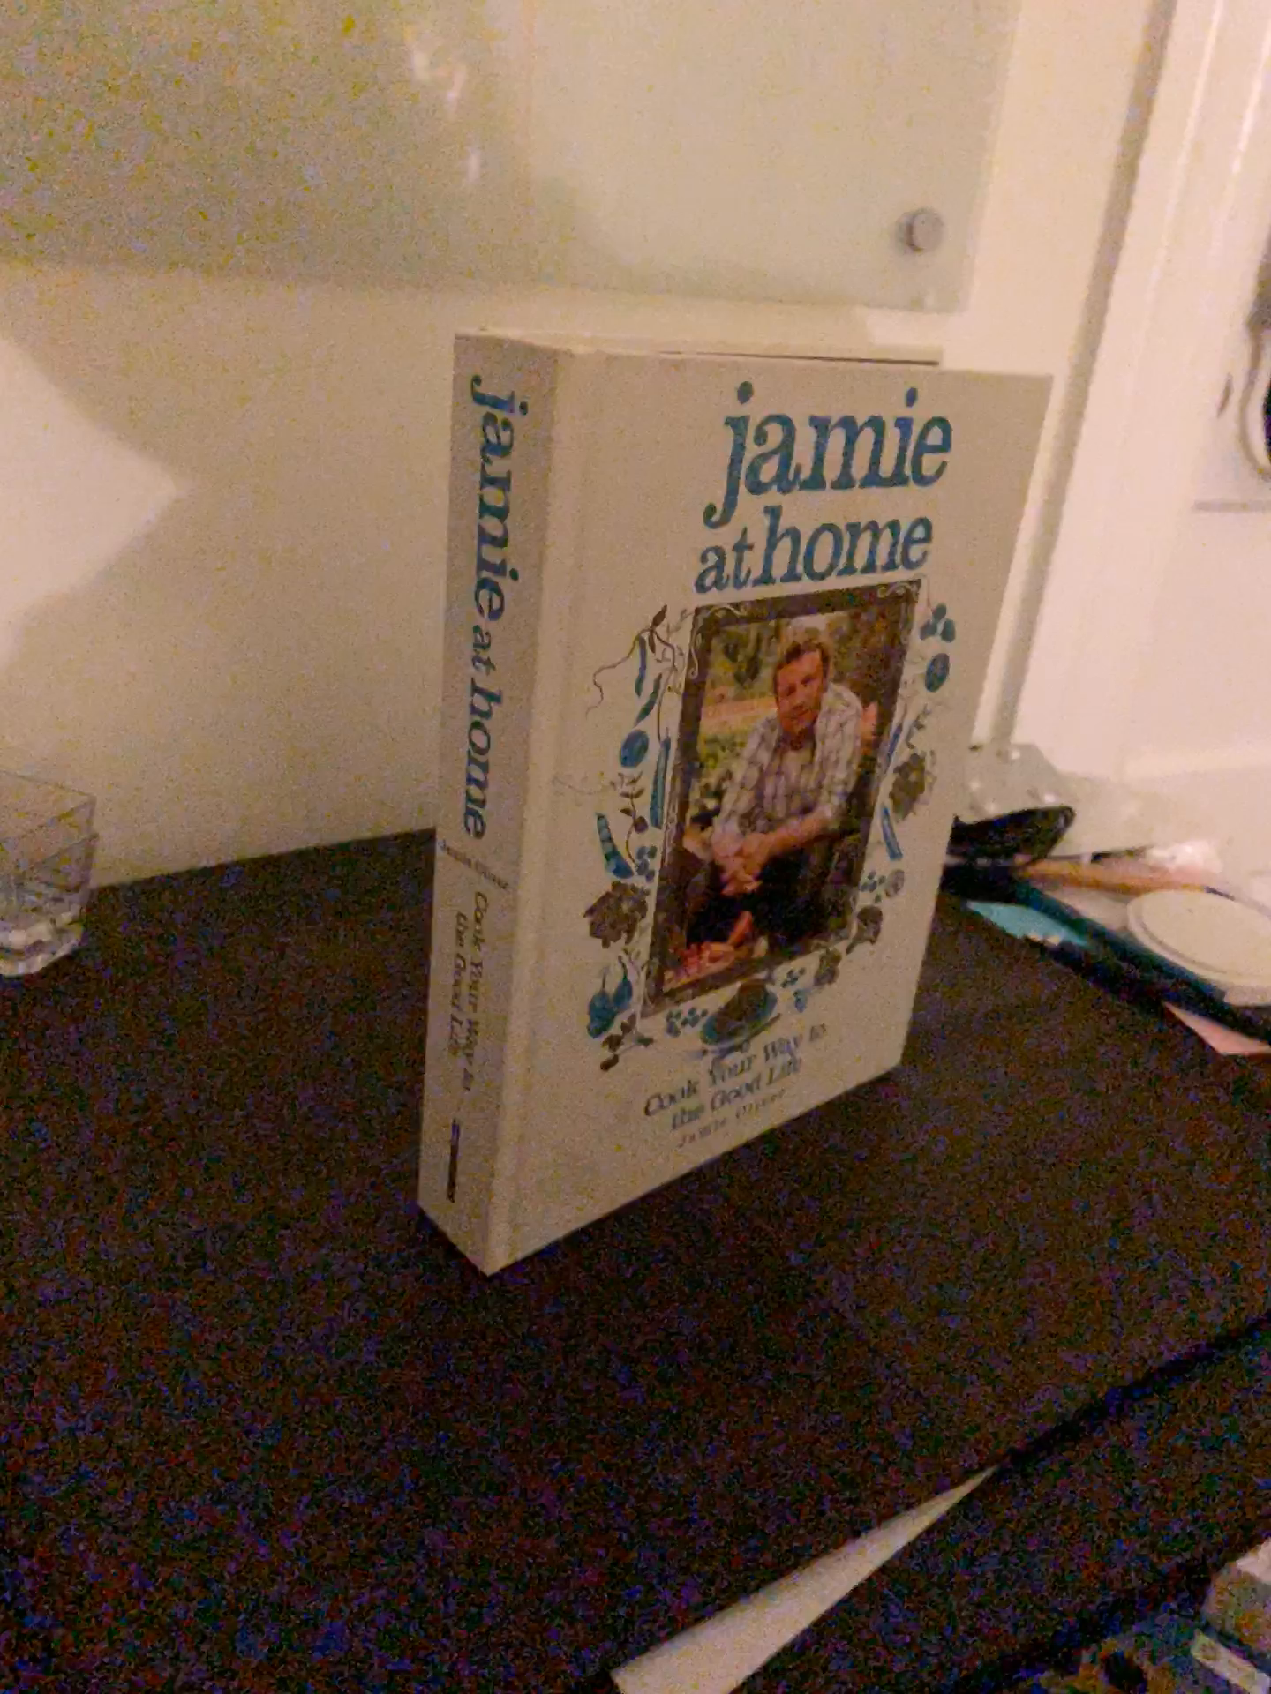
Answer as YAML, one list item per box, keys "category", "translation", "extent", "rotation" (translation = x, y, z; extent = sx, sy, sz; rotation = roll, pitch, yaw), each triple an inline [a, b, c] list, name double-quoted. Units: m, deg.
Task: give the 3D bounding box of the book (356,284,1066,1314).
- category: "book"
  translation: [0.022, -0.019, 0.405]
  extent: [0.210, 0.269, 0.050]
  rotation: [-15, 32, -39]
